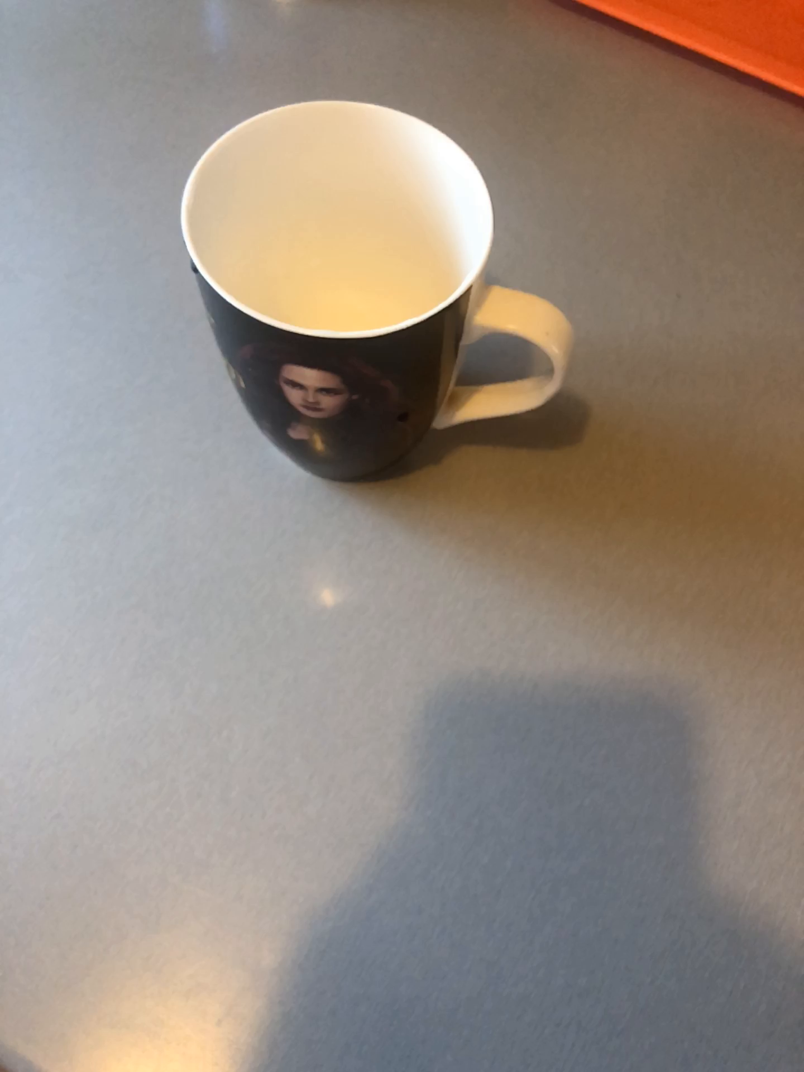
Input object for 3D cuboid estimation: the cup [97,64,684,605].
[{"bbox_3d":[-0.001,-0.057,0.281,0.130,0.100,0.090,19,66,7],"label":"cup"}]
